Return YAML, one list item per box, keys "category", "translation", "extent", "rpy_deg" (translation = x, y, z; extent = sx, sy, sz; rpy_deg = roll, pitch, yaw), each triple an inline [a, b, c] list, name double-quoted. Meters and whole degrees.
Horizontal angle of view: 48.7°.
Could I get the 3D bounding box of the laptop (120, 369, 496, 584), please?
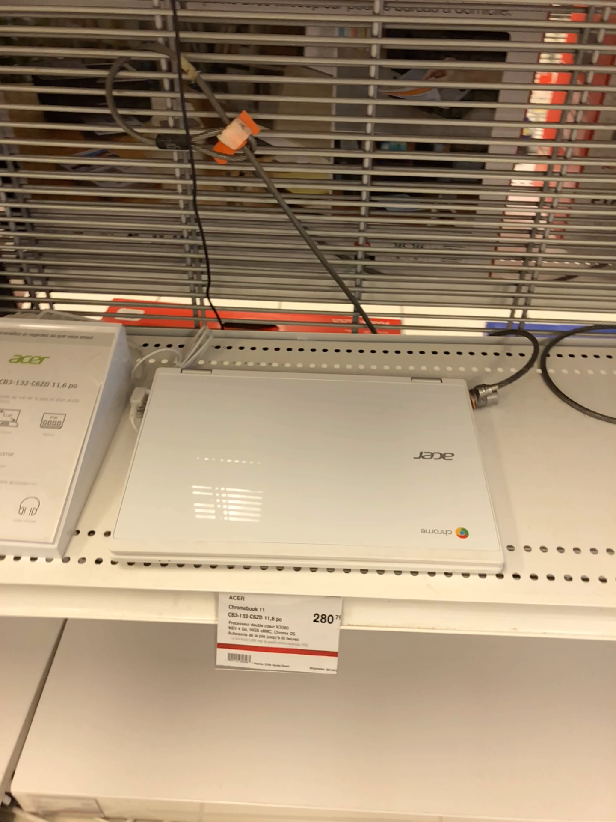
- category: "laptop"
  translation: [0.000, 0.048, 0.582]
  extent: [0.286, 0.024, 0.184]
  rpy_deg: [2, 51, 1]
